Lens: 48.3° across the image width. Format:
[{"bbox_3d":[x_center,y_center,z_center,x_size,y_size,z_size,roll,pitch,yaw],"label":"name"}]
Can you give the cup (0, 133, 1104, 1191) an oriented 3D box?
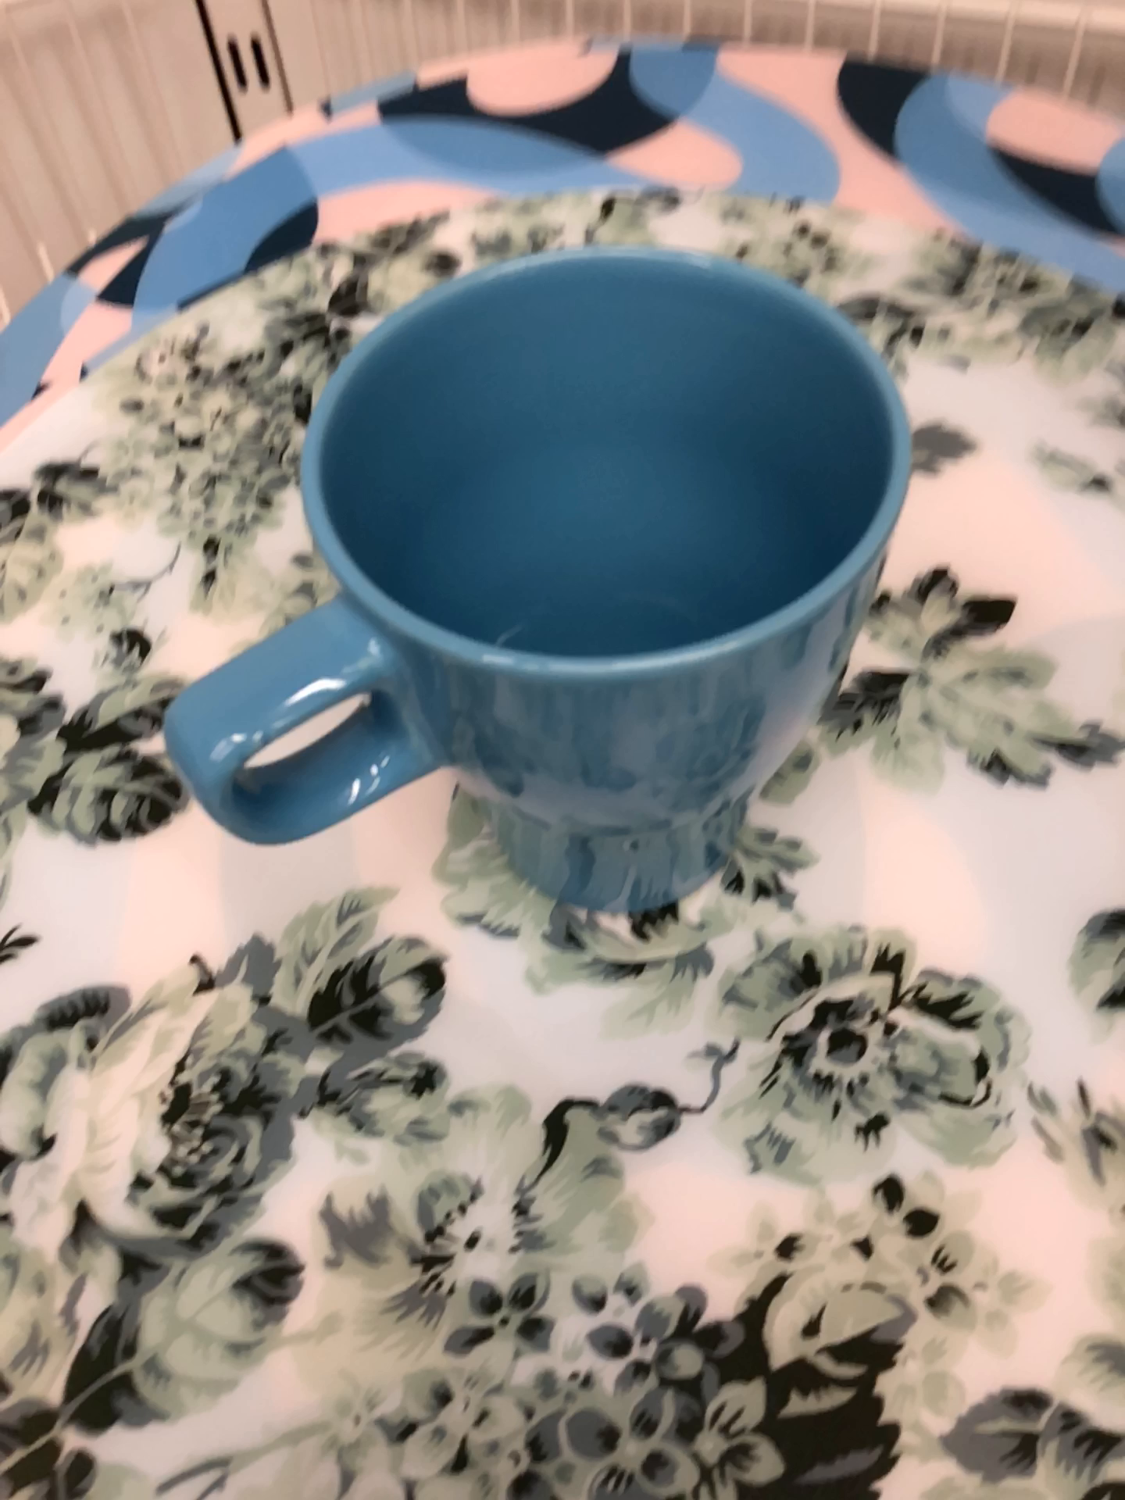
[{"bbox_3d":[-0.003,-0.018,0.195,0.120,0.080,0.090,-34,58,-20],"label":"cup"}]
